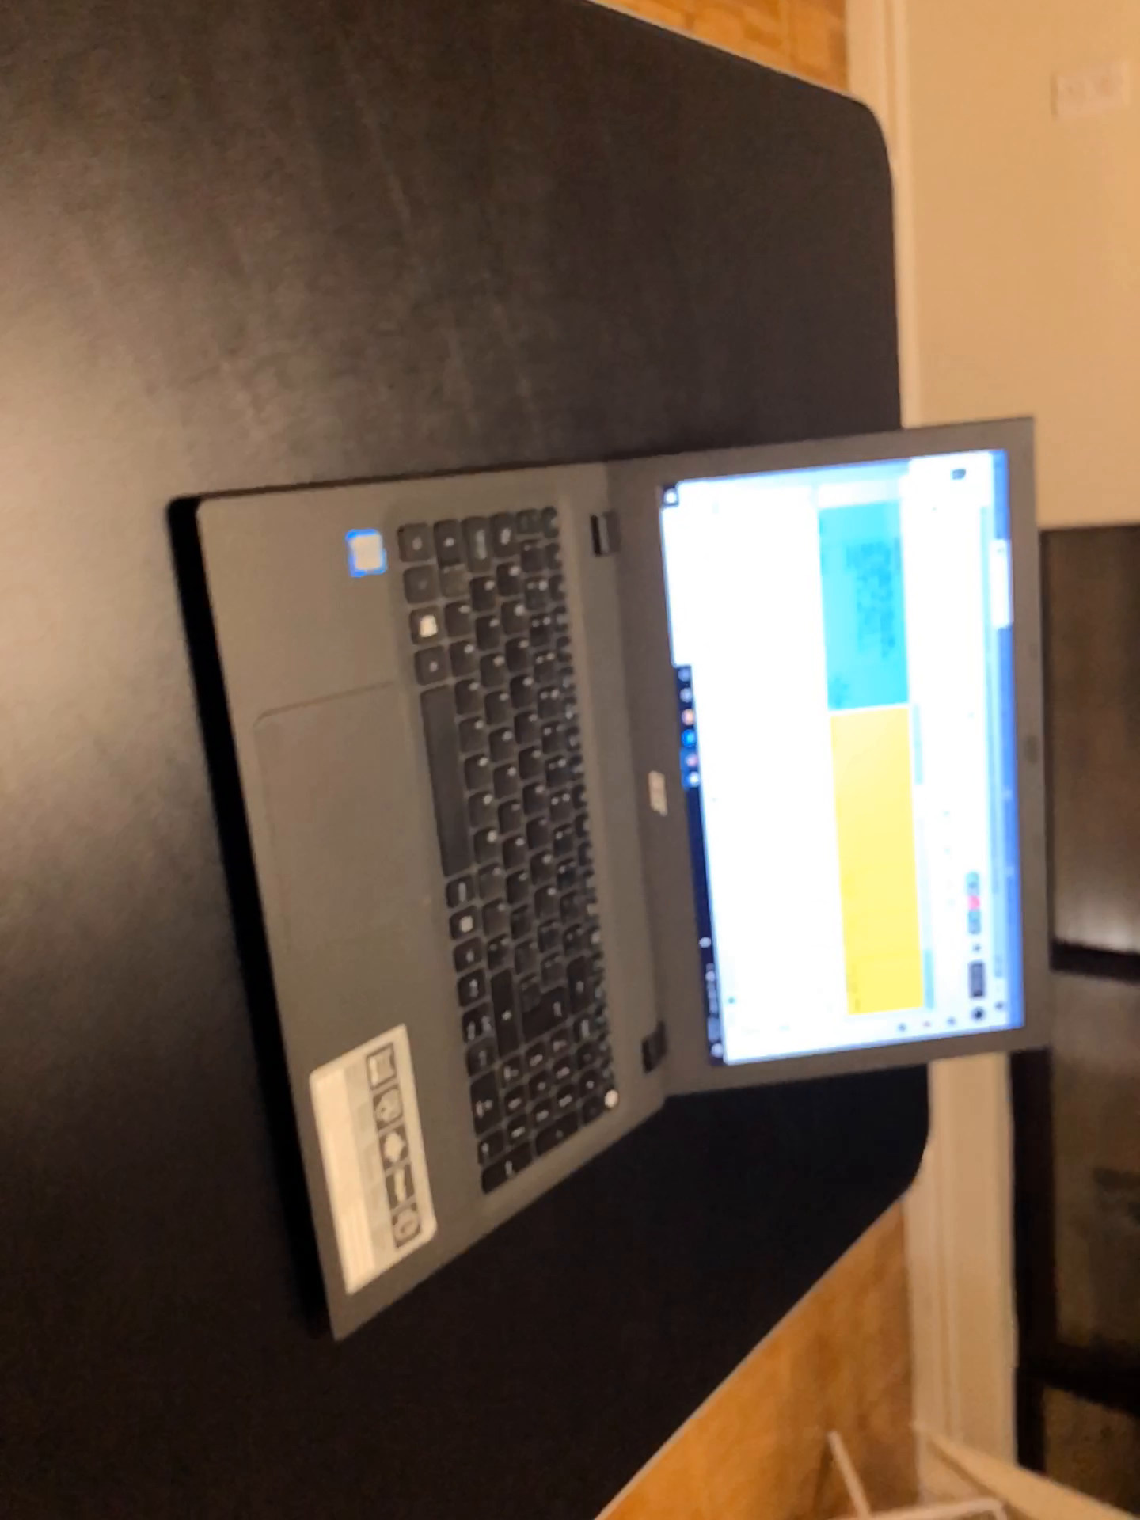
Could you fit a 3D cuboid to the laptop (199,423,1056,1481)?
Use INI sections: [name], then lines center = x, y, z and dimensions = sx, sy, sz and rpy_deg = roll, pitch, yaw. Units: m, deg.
[laptop]
center = 0.079, 0.037, 0.643
dimensions = 0.432, 0.161, 0.374
rpy_deg = -20, 108, -47
